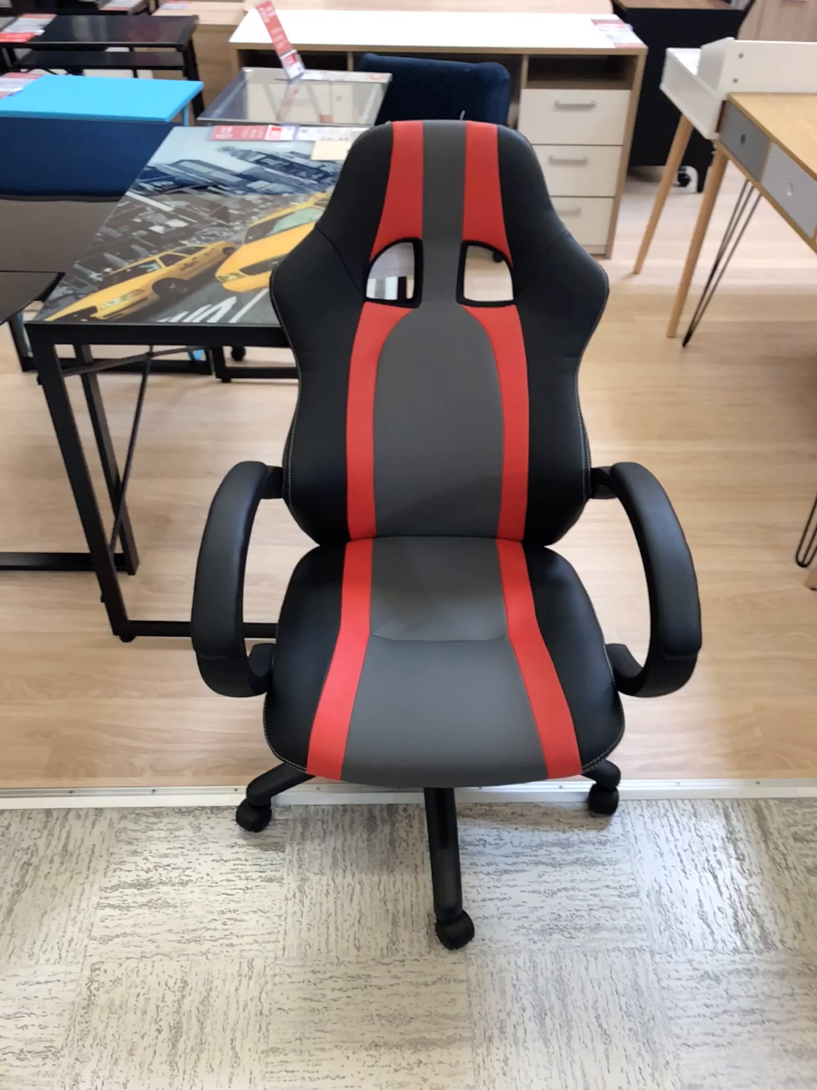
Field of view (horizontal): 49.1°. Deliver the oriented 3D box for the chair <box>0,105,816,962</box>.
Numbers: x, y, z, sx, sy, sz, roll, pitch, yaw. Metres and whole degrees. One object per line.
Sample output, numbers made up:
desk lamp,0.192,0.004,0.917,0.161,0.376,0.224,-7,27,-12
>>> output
chair,0.018,-0.007,1.216,0.690,0.924,0.694,1,38,-1
